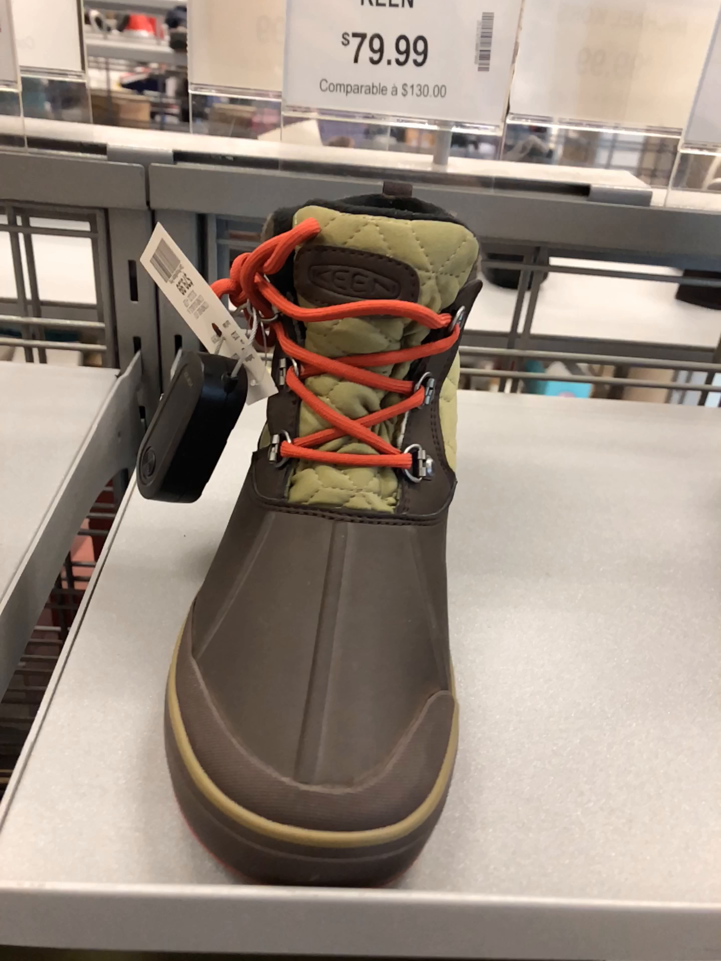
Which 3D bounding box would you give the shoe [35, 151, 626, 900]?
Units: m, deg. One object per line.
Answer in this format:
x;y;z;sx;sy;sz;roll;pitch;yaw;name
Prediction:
-0.011;-0.018;0.292;0.107;0.139;0.262;5;32;-3;shoe
